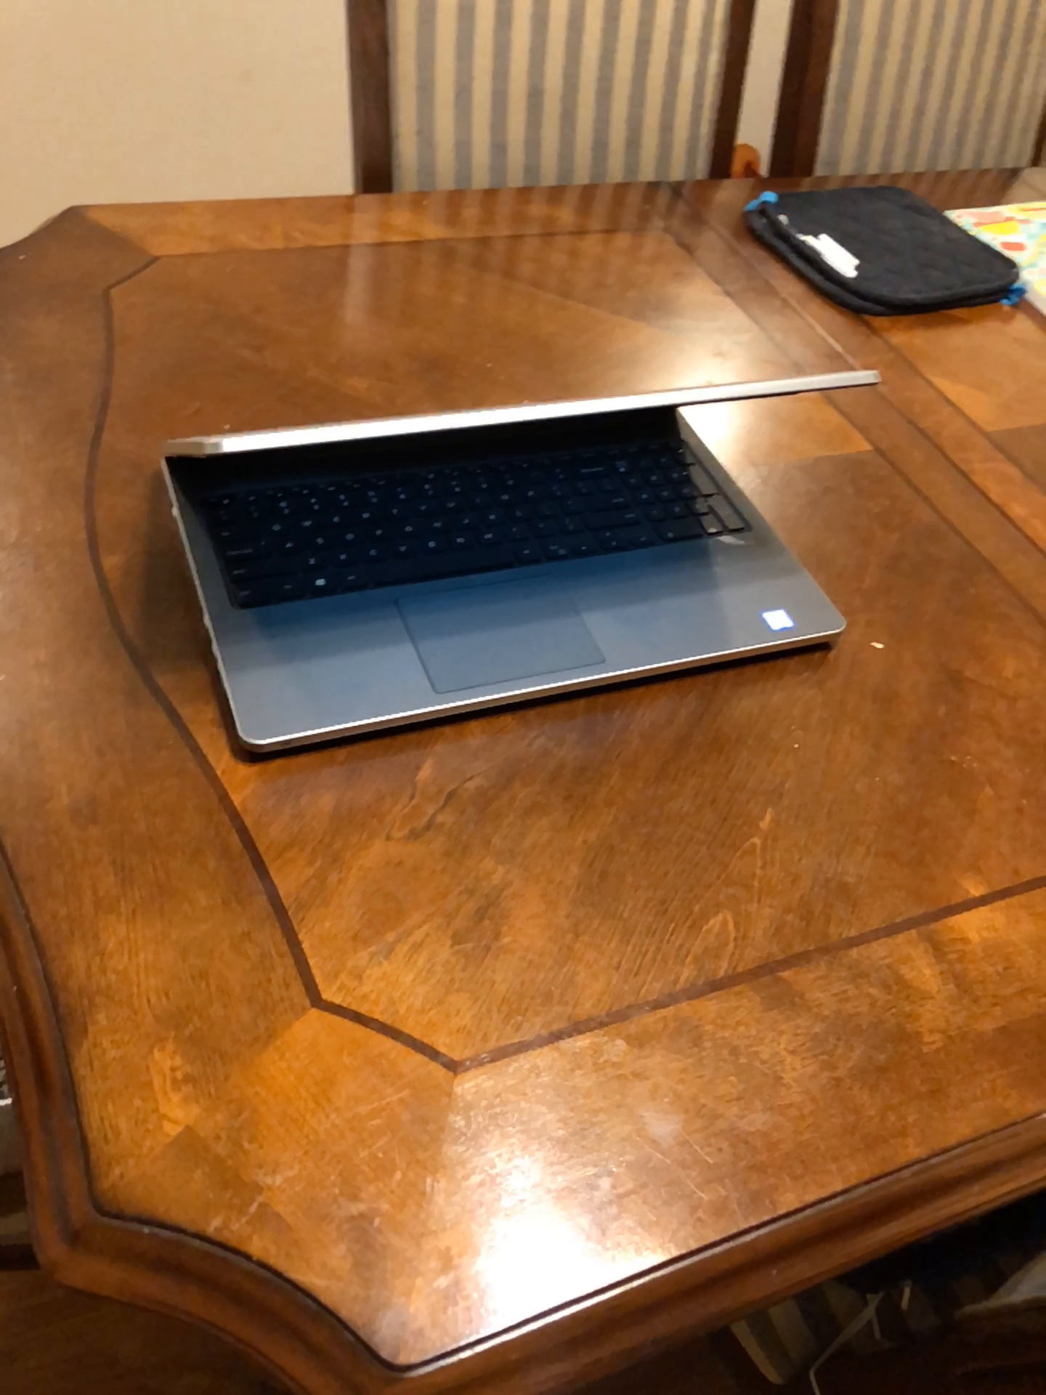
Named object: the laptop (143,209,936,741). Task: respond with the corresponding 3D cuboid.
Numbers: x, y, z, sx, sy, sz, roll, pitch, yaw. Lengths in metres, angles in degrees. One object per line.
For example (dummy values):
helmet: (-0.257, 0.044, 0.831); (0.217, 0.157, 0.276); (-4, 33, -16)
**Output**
laptop: (-0.006, -0.148, 0.666); (0.363, 0.147, 0.246); (-11, 50, -19)
